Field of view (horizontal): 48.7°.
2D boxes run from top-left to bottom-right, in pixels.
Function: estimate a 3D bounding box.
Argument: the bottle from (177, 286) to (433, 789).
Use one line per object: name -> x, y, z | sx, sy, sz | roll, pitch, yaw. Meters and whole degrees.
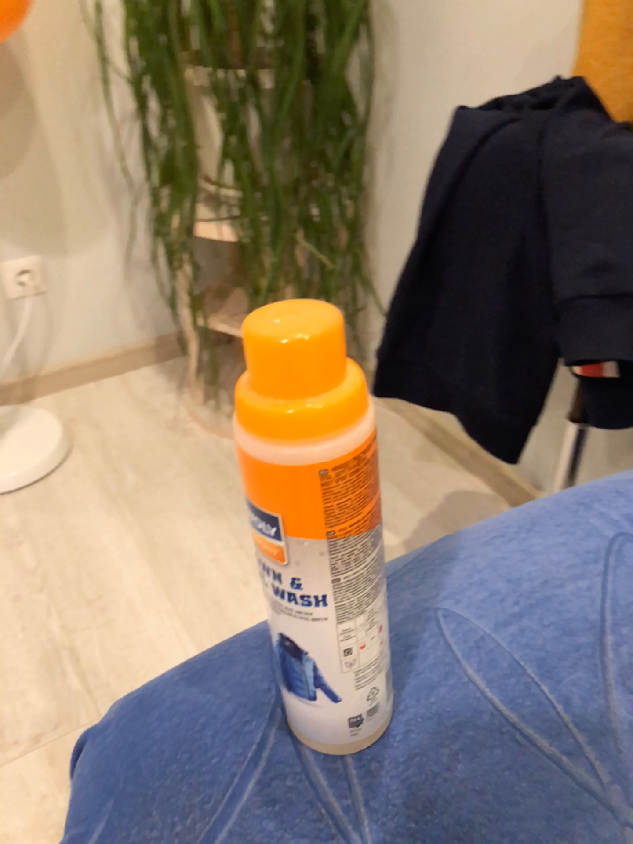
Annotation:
bottle -> 0.004, 0.051, 0.265 | 0.052, 0.188, 0.052 | -6, 33, 4
